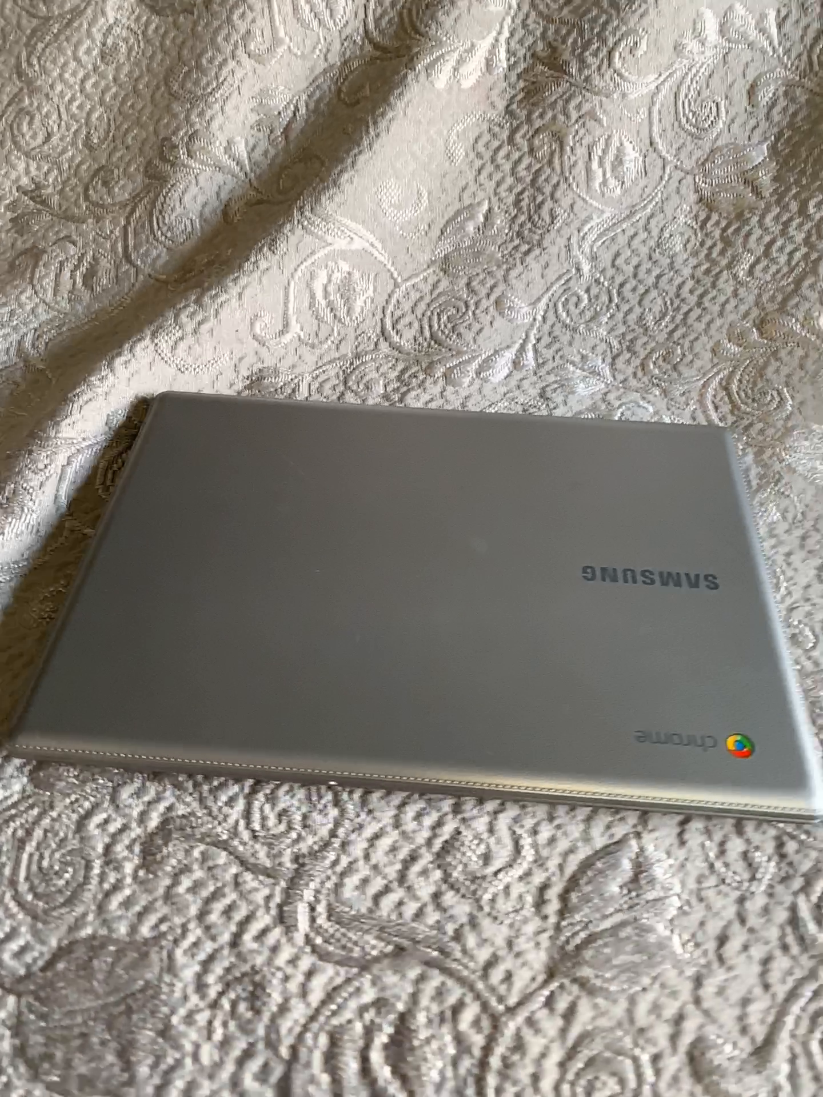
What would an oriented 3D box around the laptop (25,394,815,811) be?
[{"bbox_3d":[0.006,0.008,0.338,0.264,0.005,0.176,4,52,2],"label":"laptop"}]
